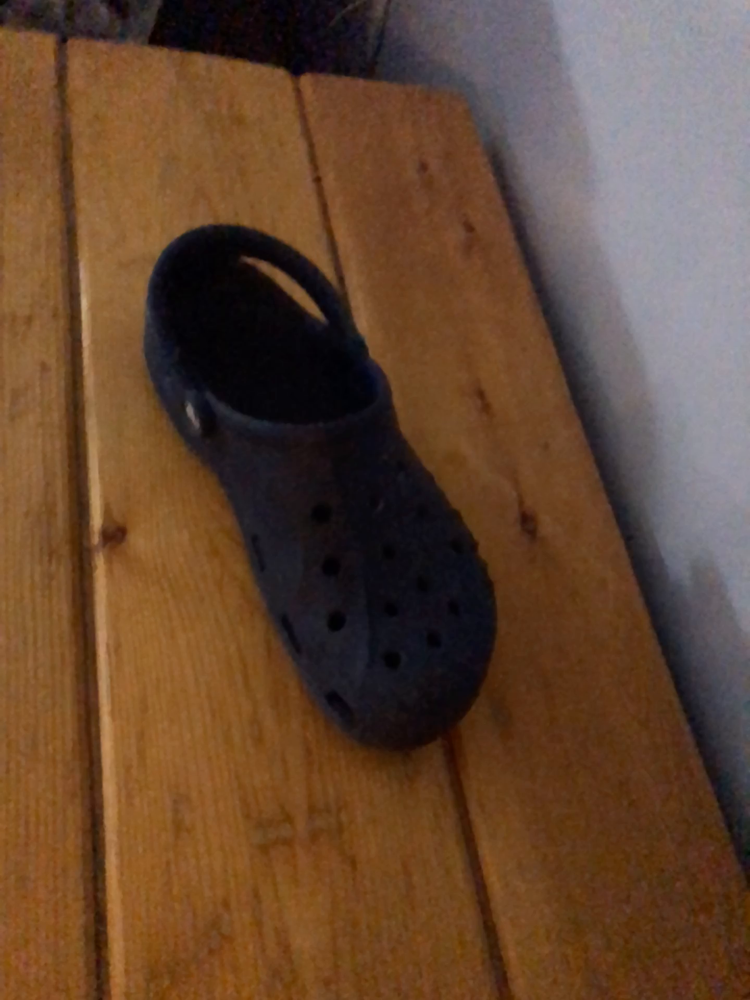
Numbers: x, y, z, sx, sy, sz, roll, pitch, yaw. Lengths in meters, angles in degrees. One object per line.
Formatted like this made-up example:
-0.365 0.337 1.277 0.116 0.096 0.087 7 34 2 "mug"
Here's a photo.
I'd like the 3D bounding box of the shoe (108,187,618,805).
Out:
-0.023 -0.019 0.423 0.130 0.080 0.290 -18 68 -26 "shoe"
